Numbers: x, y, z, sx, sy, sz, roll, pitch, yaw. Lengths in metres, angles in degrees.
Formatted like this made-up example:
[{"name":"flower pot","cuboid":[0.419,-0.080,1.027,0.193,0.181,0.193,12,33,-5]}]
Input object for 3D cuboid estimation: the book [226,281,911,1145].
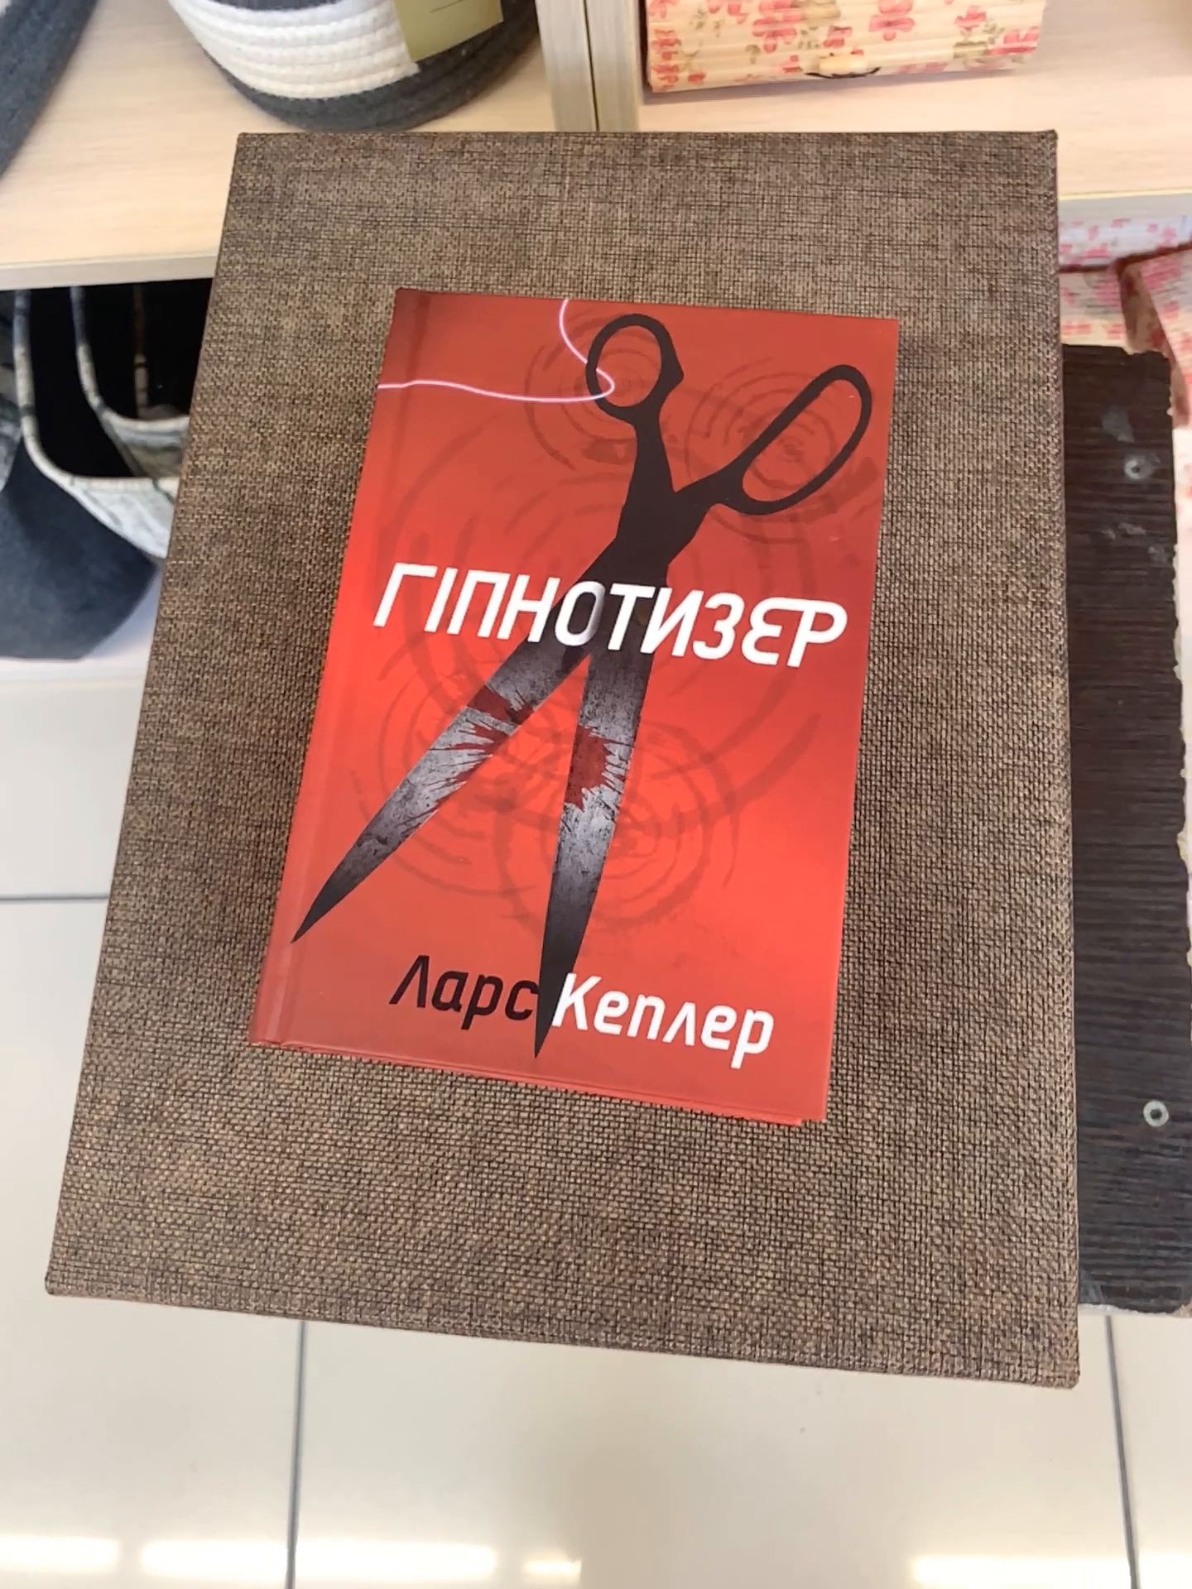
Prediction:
[{"name":"book","cuboid":[0.000,-0.023,0.309,0.132,0.050,0.195,7,77,7]}]
